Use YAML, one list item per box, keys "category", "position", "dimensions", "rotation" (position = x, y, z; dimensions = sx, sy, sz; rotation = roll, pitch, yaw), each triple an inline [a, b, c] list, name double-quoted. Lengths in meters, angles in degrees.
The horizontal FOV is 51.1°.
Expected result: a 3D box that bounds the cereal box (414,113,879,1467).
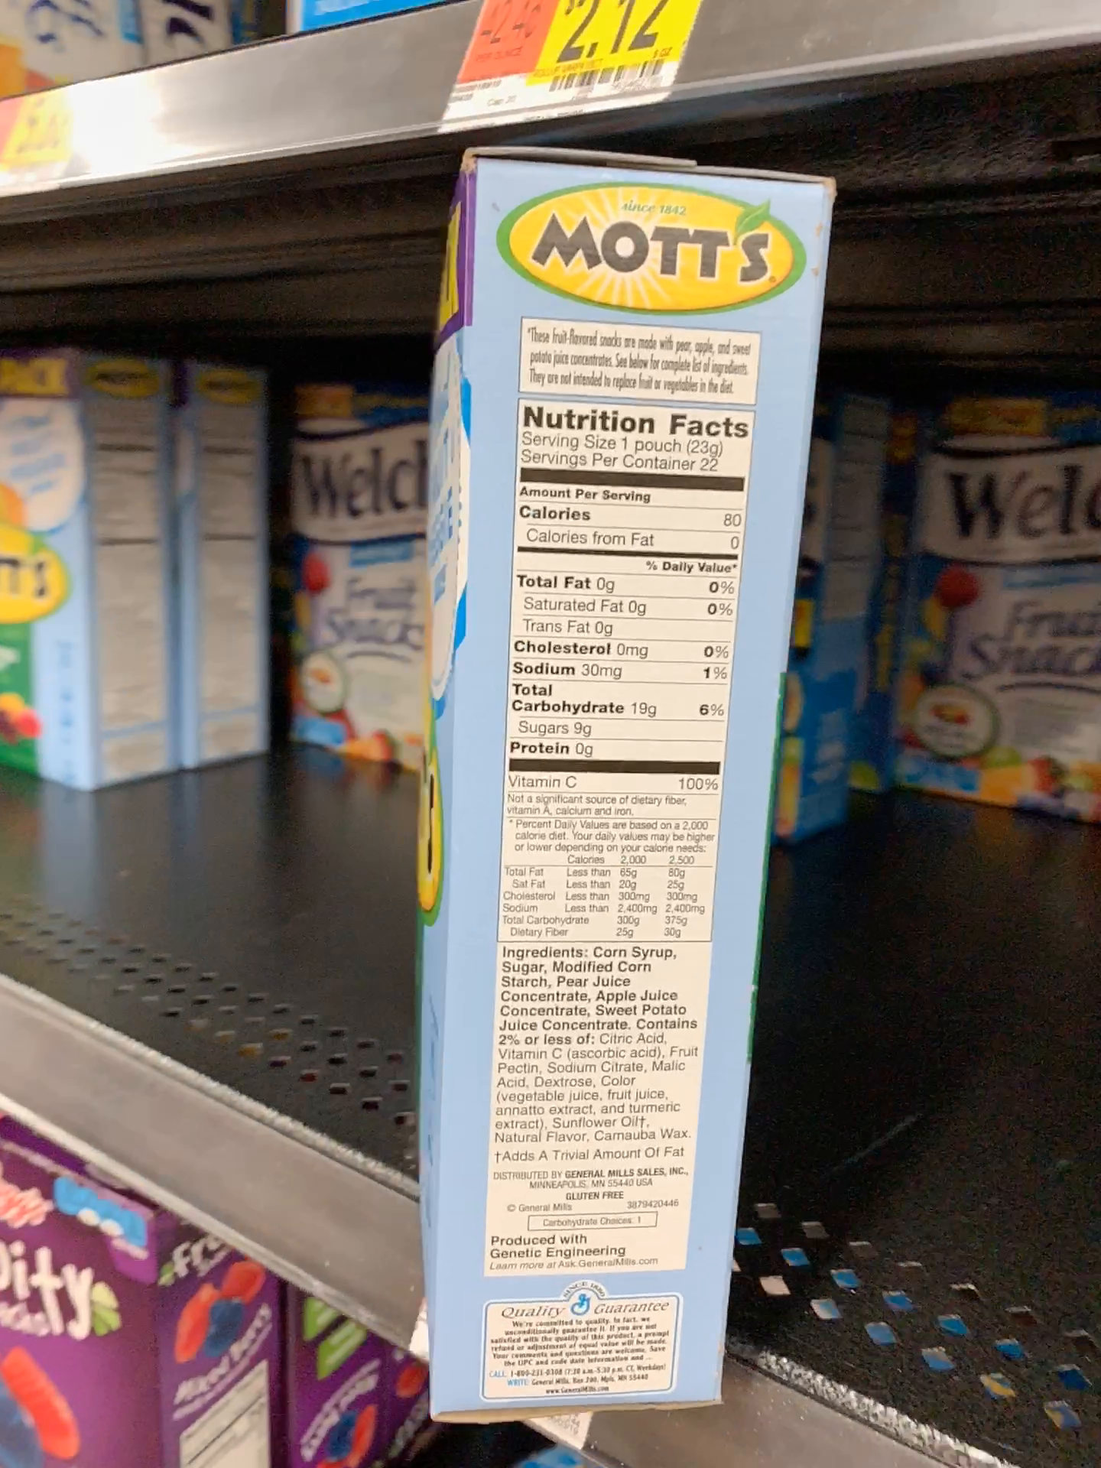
- category: "cereal box"
  position: [0.002, 0.005, 0.285]
  dimensions: [0.060, 0.239, 0.181]
  rotation: [1, 14, -9]
